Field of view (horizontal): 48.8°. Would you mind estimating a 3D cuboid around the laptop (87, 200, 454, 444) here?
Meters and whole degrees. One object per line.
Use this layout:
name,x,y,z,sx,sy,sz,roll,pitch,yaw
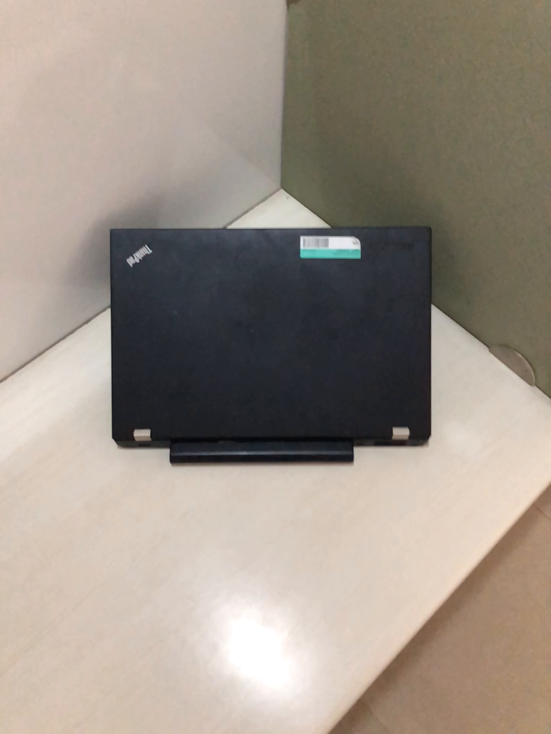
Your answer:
laptop,-0.004,-0.049,0.699,0.354,0.140,0.233,0,63,1
